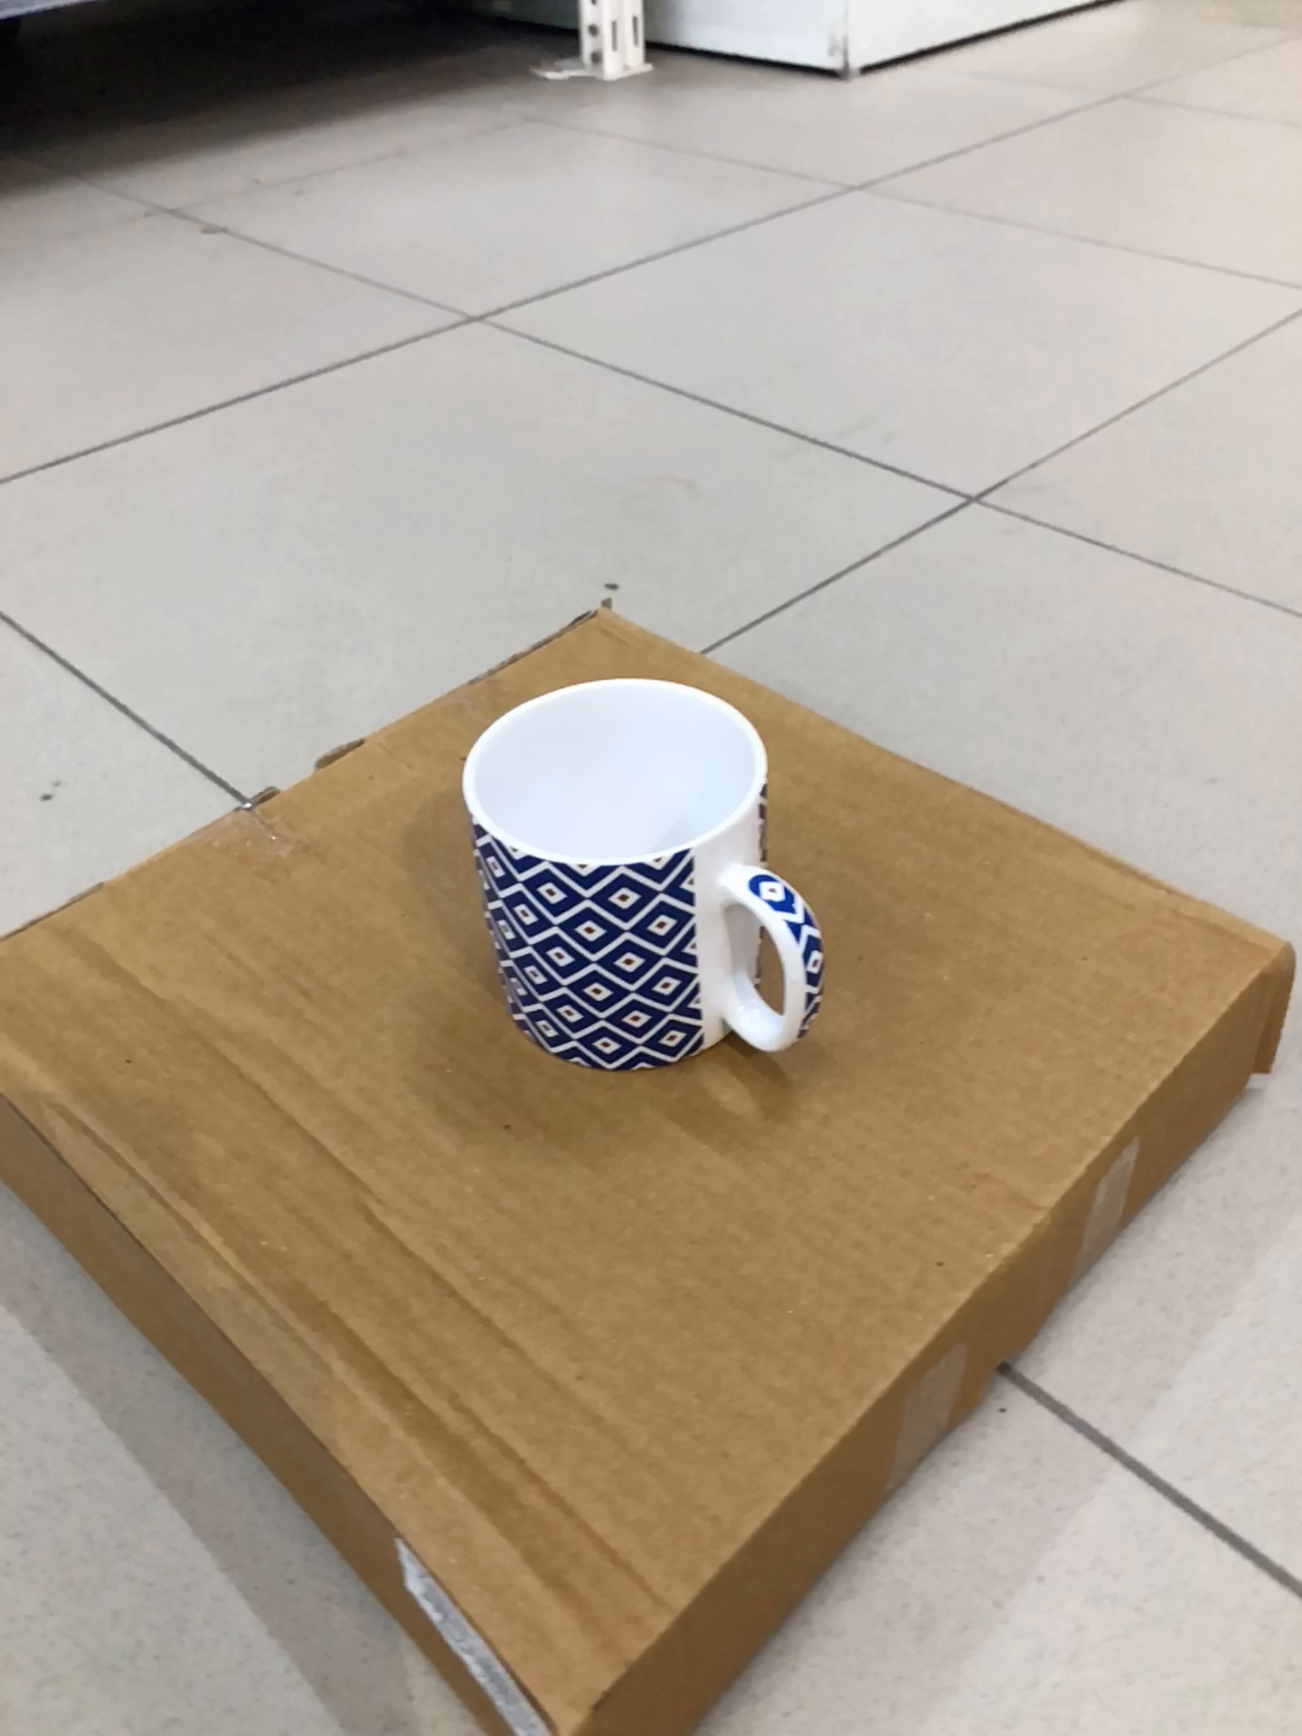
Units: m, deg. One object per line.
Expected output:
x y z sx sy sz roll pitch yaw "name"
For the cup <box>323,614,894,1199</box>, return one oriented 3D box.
-0.010 0.004 0.364 0.110 0.079 0.080 30 49 34 "cup"
